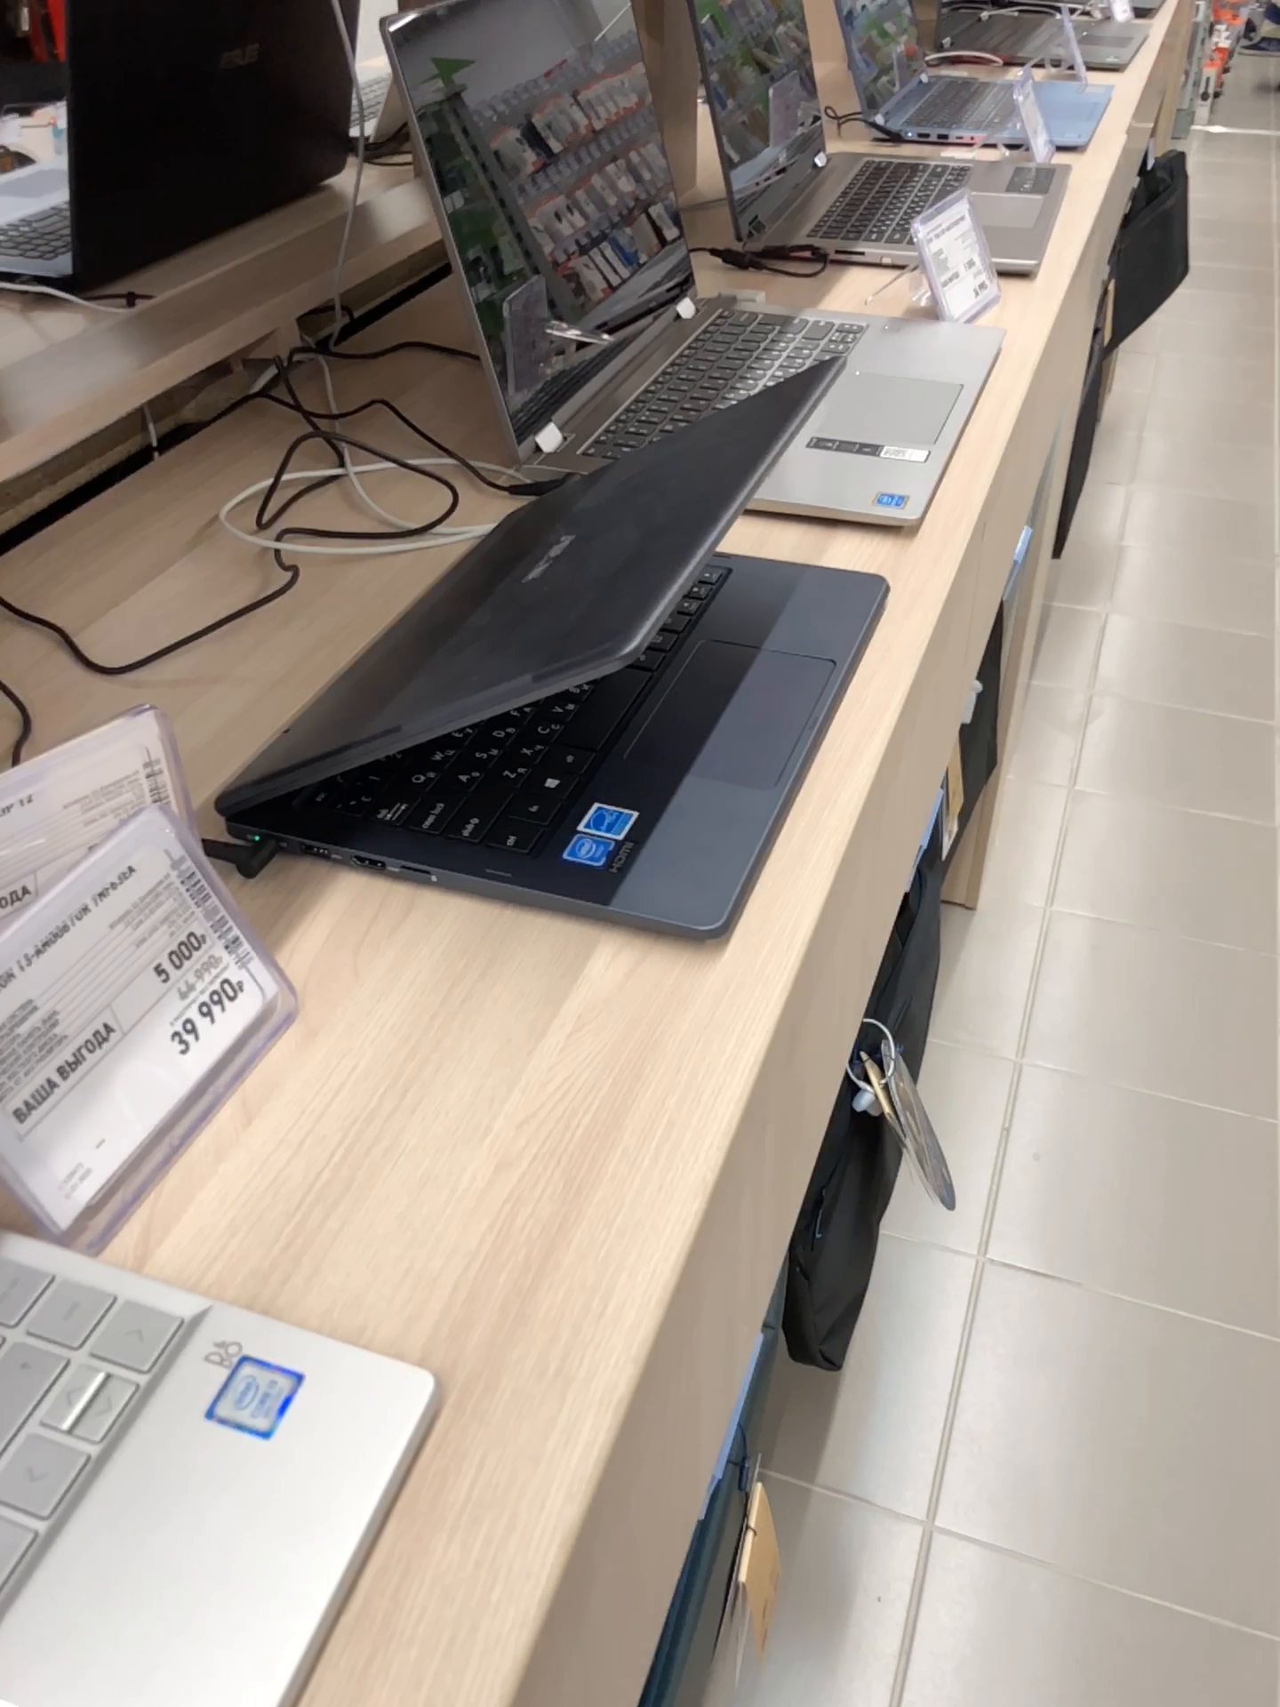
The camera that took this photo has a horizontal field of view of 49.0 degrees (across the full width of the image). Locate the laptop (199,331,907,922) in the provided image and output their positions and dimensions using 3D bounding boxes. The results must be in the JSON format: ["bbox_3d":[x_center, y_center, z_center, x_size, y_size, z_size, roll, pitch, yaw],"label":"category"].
[{"bbox_3d":[-0.014,-0.113,0.573,0.185,0.097,0.273,12,39,16],"label":"laptop"}]
